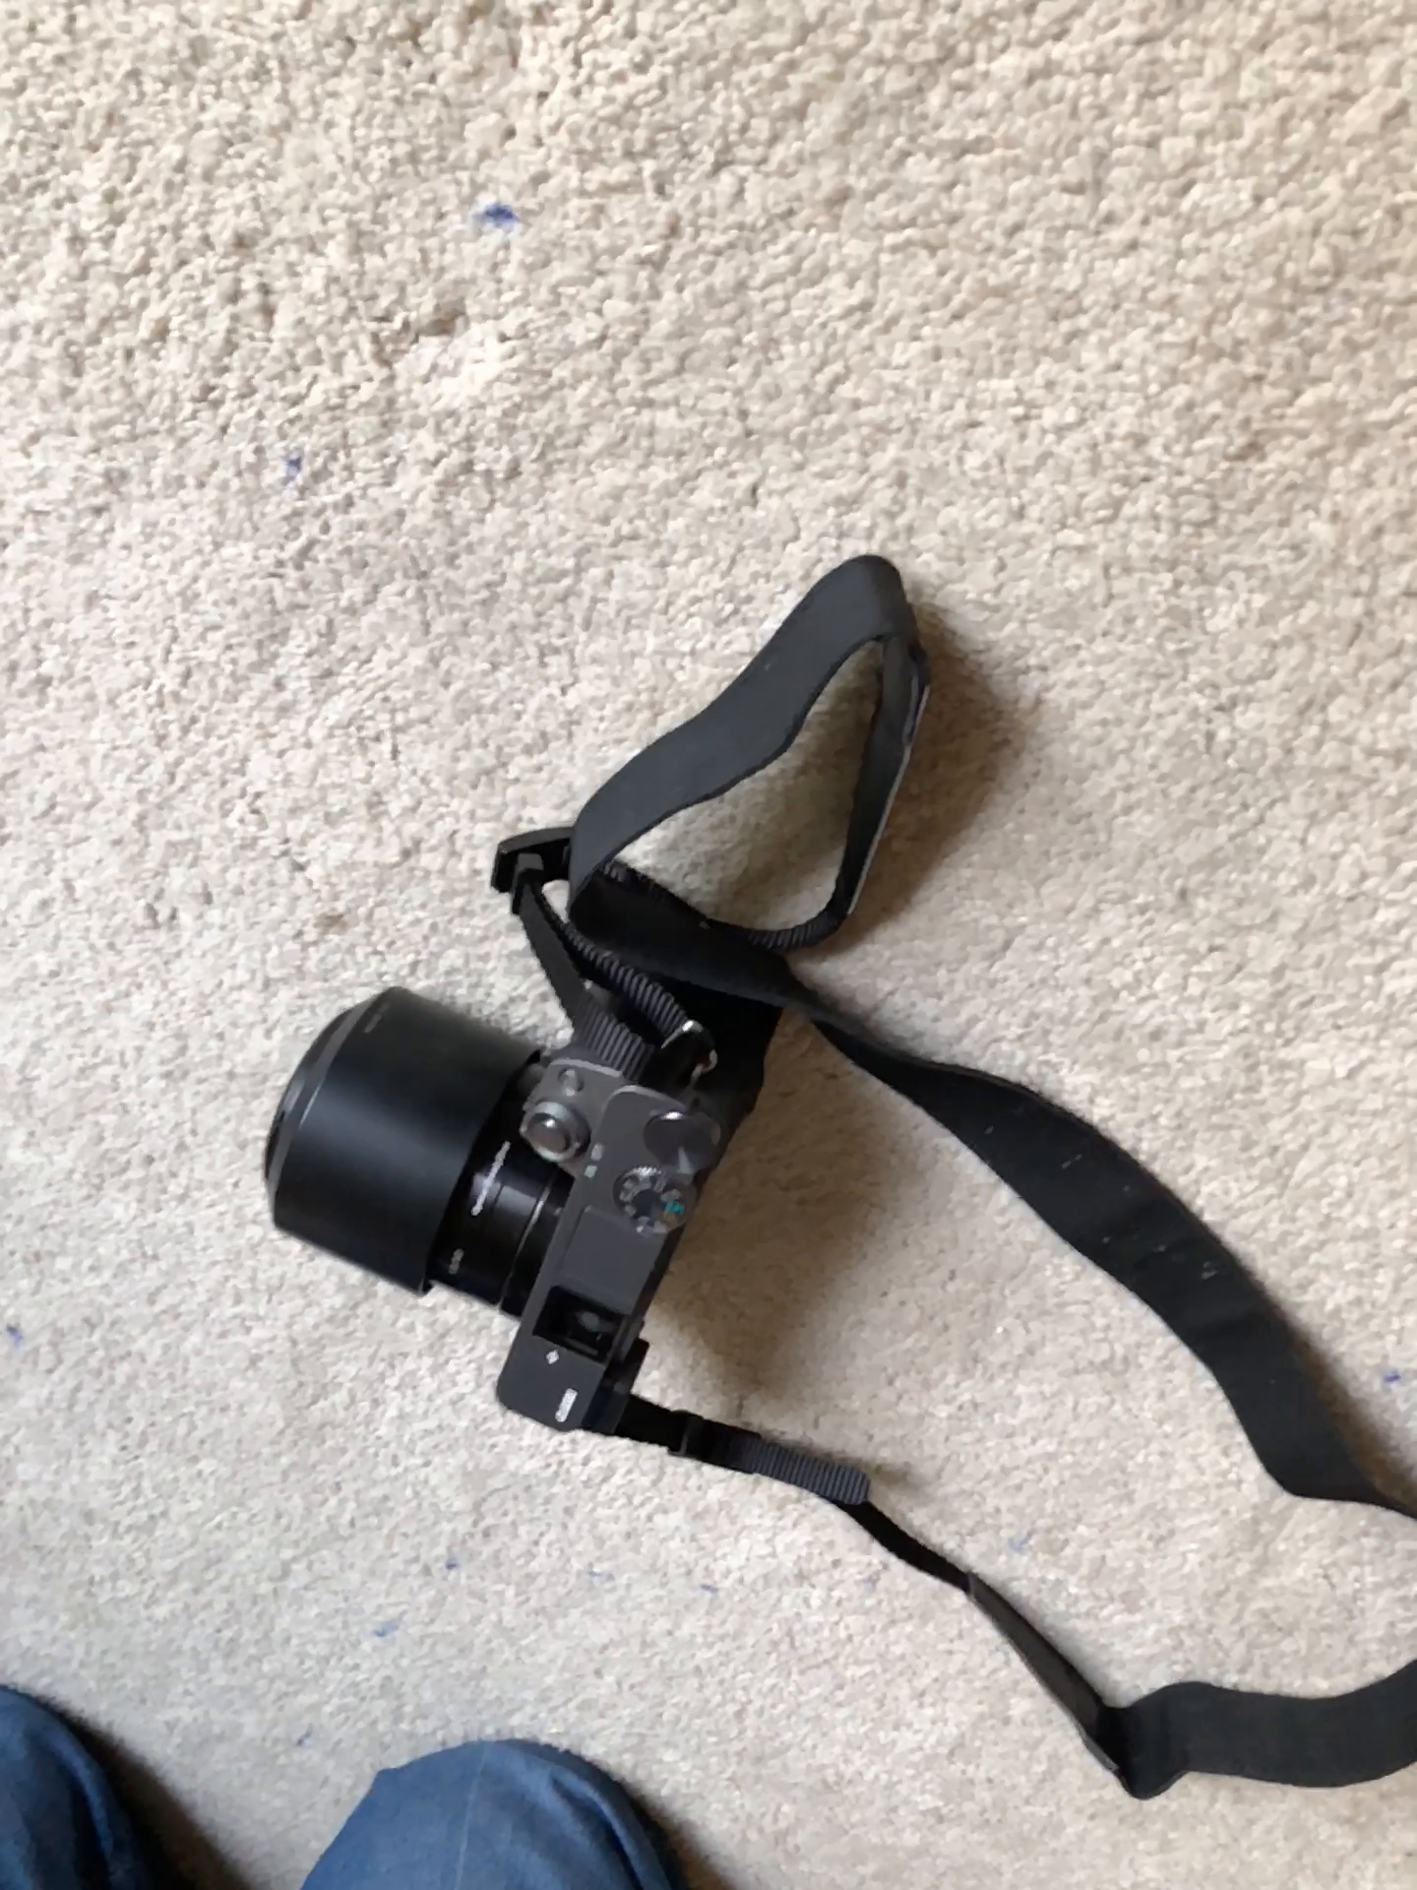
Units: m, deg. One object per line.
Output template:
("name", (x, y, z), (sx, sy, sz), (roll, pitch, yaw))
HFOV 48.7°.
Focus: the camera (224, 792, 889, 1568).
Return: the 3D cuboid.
("camera", (-0.039, 0.058, 0.370), (0.110, 0.070, 0.141), (23, 125, 3))
